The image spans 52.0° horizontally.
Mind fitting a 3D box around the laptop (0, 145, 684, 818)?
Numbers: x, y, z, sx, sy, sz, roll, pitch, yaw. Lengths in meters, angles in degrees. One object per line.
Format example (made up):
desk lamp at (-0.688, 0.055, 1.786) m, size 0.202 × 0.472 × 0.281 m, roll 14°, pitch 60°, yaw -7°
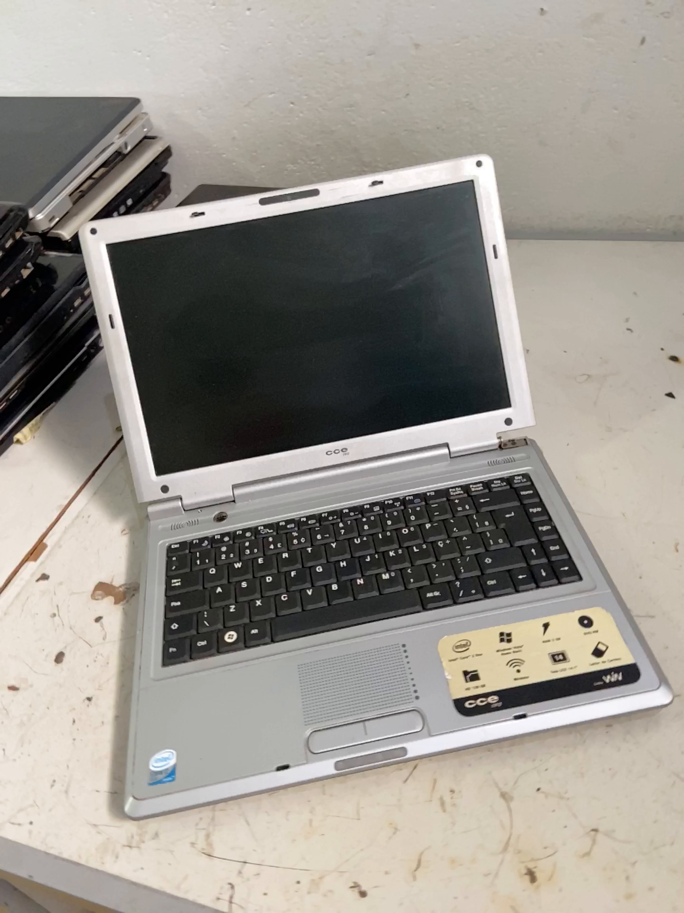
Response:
laptop at (-0.005, -0.020, 0.497) m, size 0.338 × 0.190 × 0.389 m, roll -11°, pitch 44°, yaw -2°
